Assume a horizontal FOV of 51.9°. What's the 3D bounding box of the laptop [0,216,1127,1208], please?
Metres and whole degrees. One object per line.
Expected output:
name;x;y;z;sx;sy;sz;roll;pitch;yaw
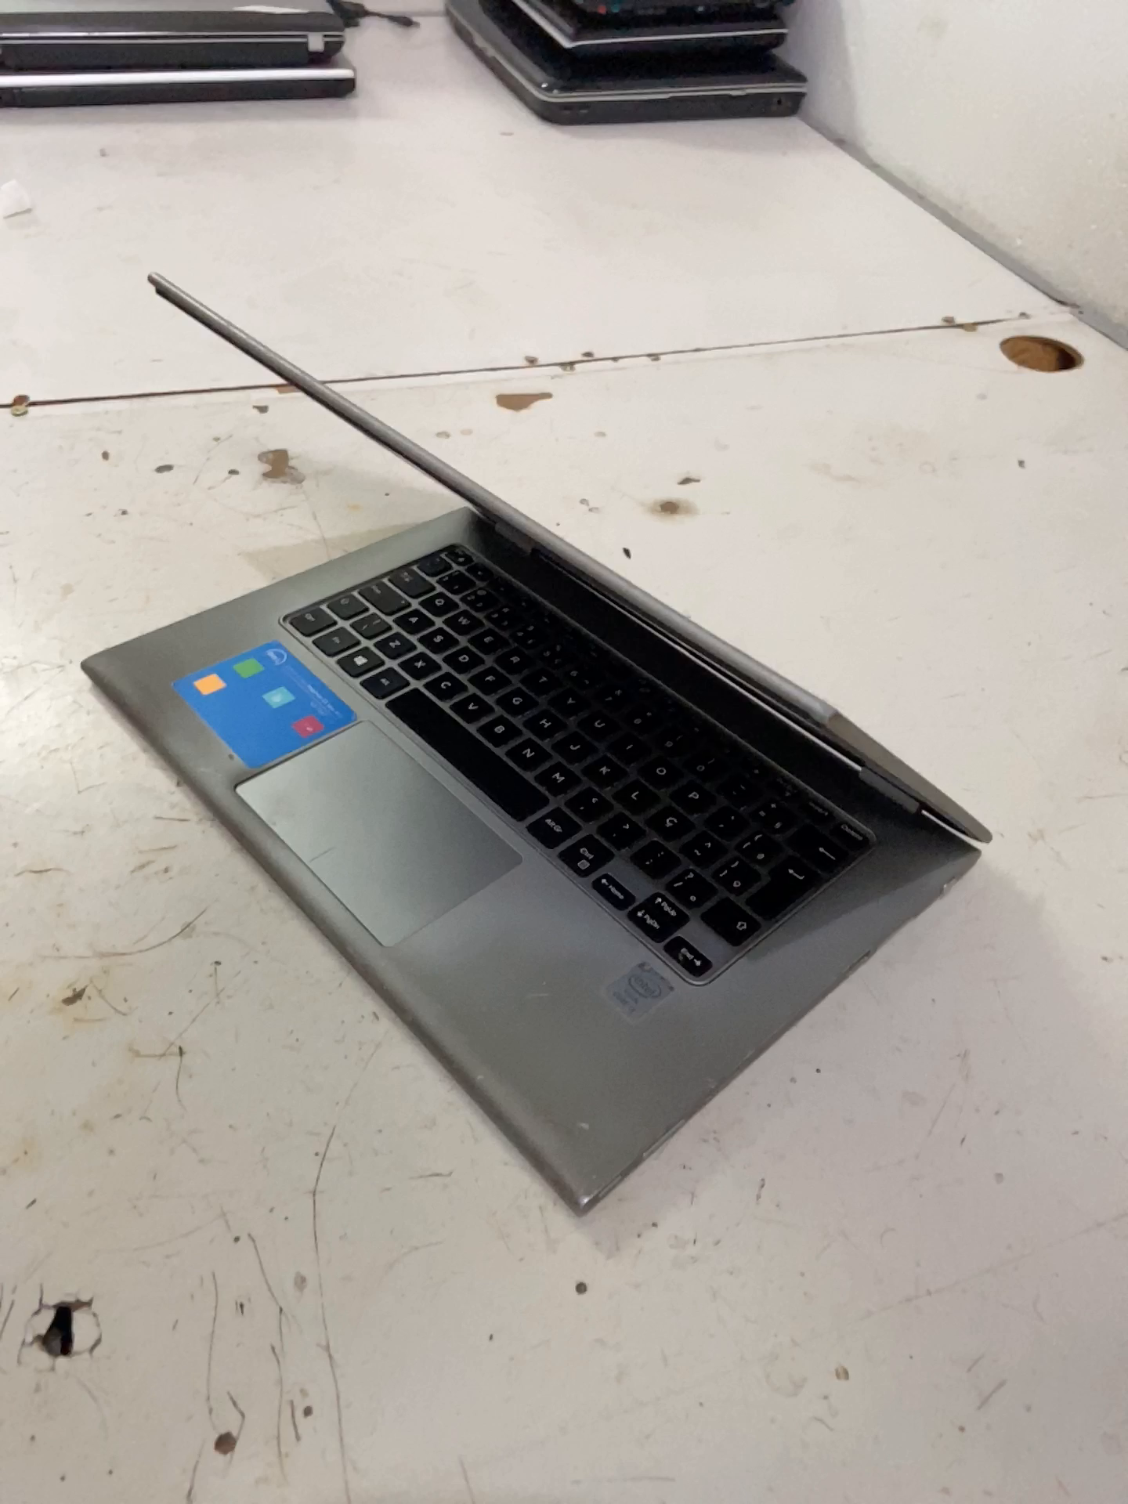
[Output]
laptop;-0.023;-0.053;0.432;0.218;0.155;0.327;-30;52;-31
